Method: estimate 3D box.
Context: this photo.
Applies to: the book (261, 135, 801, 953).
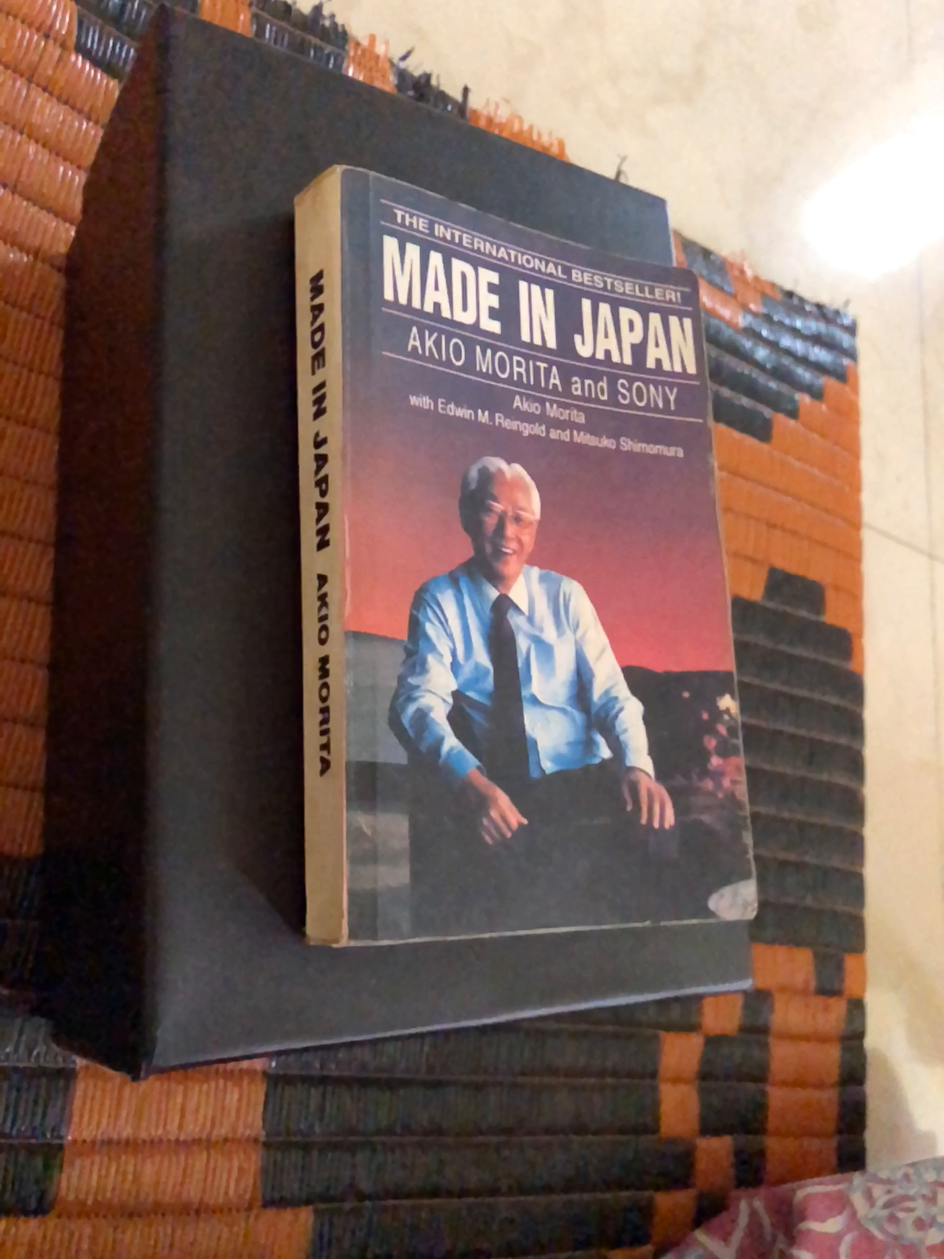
[{"bbox_3d":[0.013,-0.017,0.251,0.121,0.030,0.170,5,74,-29],"label":"book"}]
